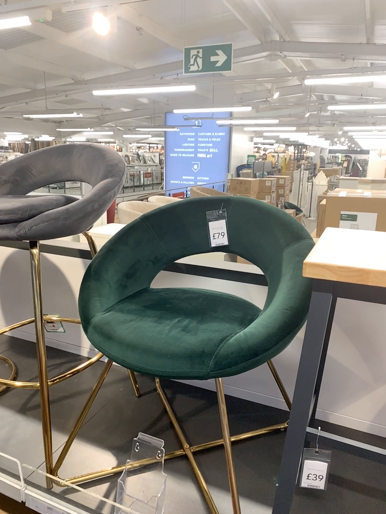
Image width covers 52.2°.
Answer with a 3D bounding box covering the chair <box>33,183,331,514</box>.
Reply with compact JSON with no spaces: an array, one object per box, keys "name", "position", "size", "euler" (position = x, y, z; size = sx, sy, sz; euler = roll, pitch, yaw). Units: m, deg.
[{"name":"chair","position":[0.011,0.207,1.150],"size":[0.630,0.773,0.556],"euler":[7,15,22]}]
